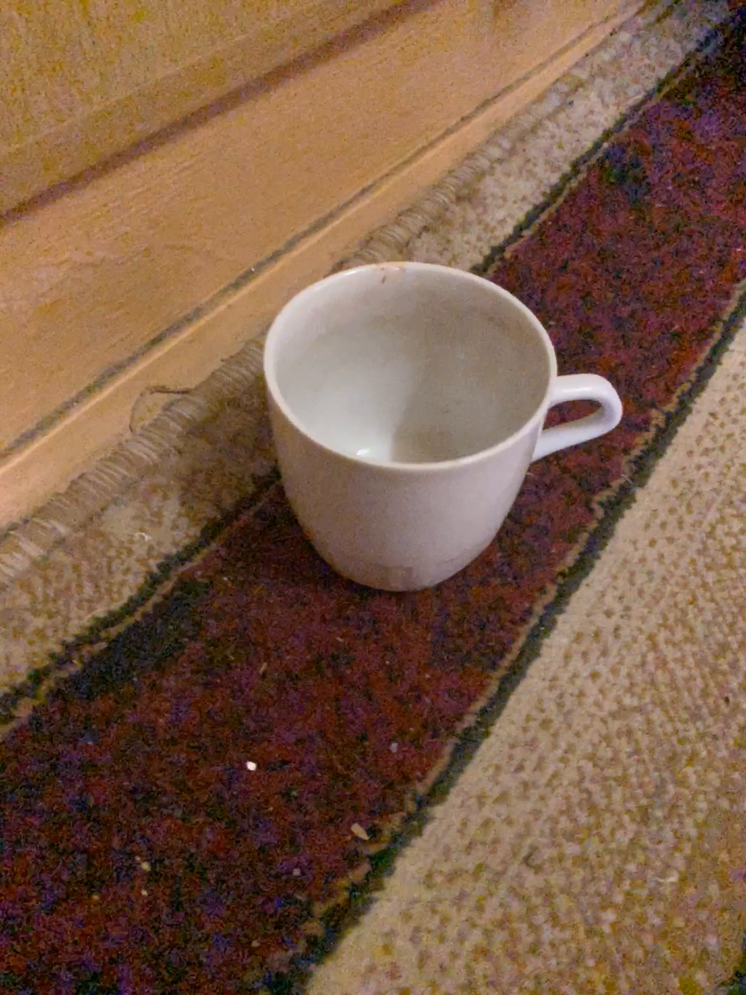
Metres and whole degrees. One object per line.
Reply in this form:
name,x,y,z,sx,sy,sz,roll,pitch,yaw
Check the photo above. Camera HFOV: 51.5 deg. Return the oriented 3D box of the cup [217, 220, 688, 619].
cup,0.017,-0.025,0.245,0.114,0.075,0.082,-9,54,-8
